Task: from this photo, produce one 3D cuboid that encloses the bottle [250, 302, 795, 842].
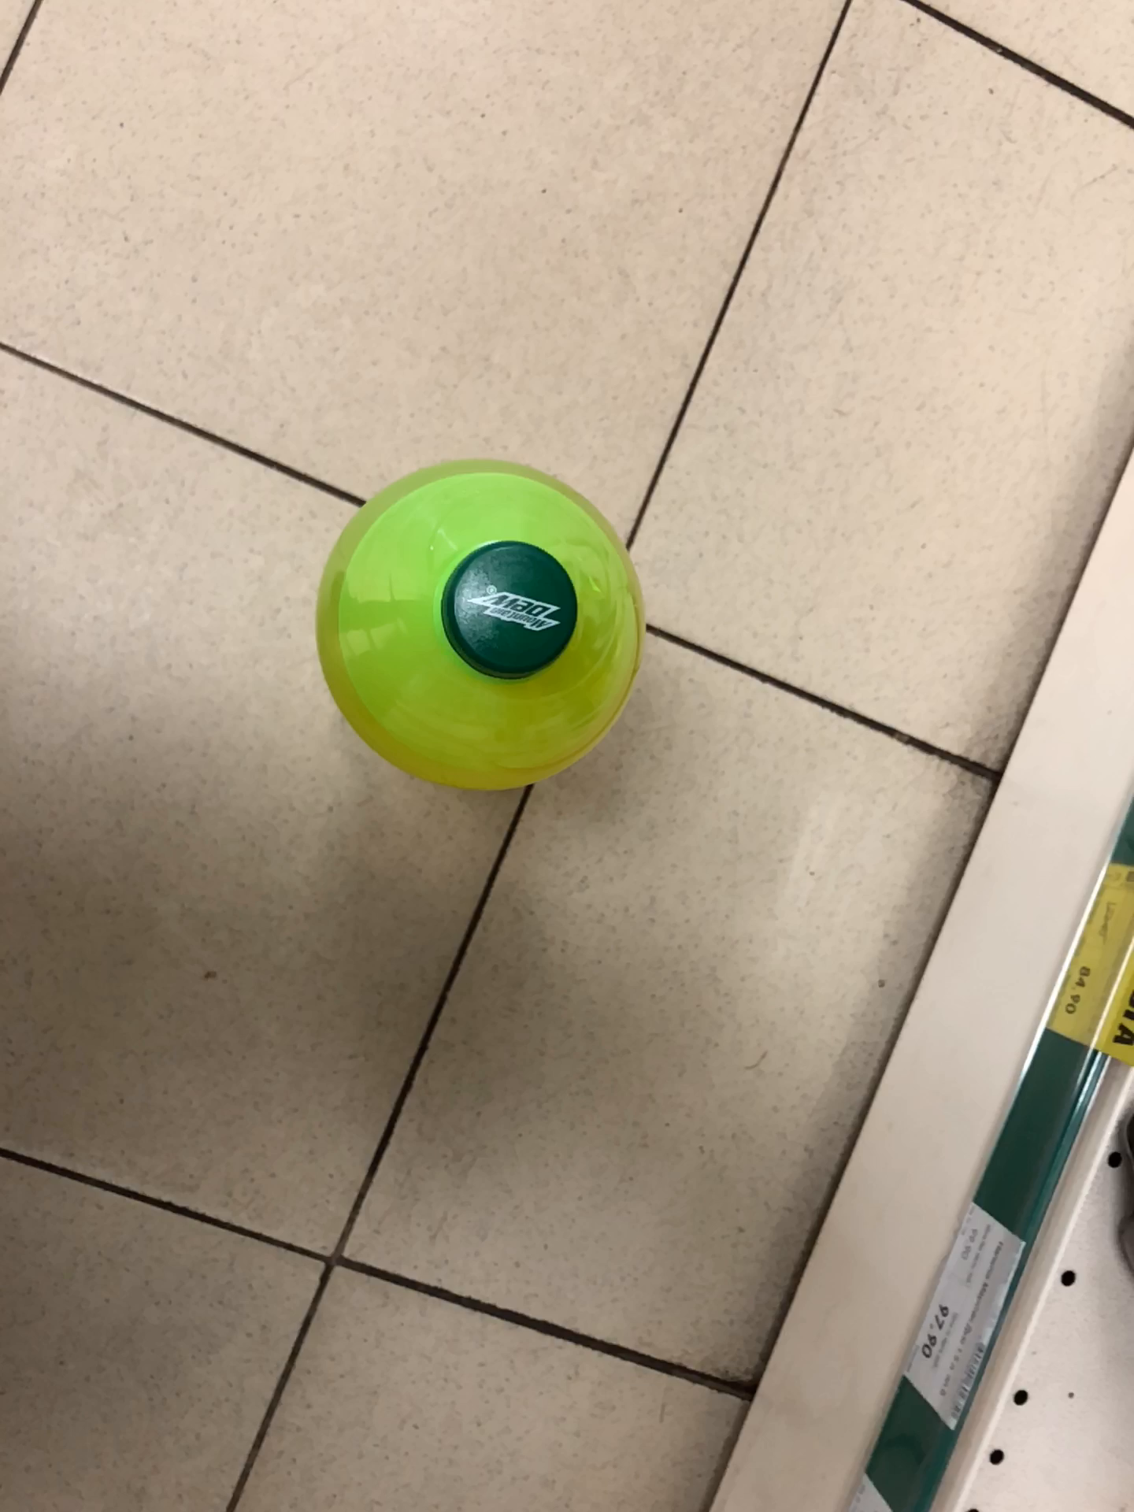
[{"bbox_3d":[-0.032,-0.044,0.420,0.100,0.296,0.095,0,92,-9],"label":"bottle"}]
